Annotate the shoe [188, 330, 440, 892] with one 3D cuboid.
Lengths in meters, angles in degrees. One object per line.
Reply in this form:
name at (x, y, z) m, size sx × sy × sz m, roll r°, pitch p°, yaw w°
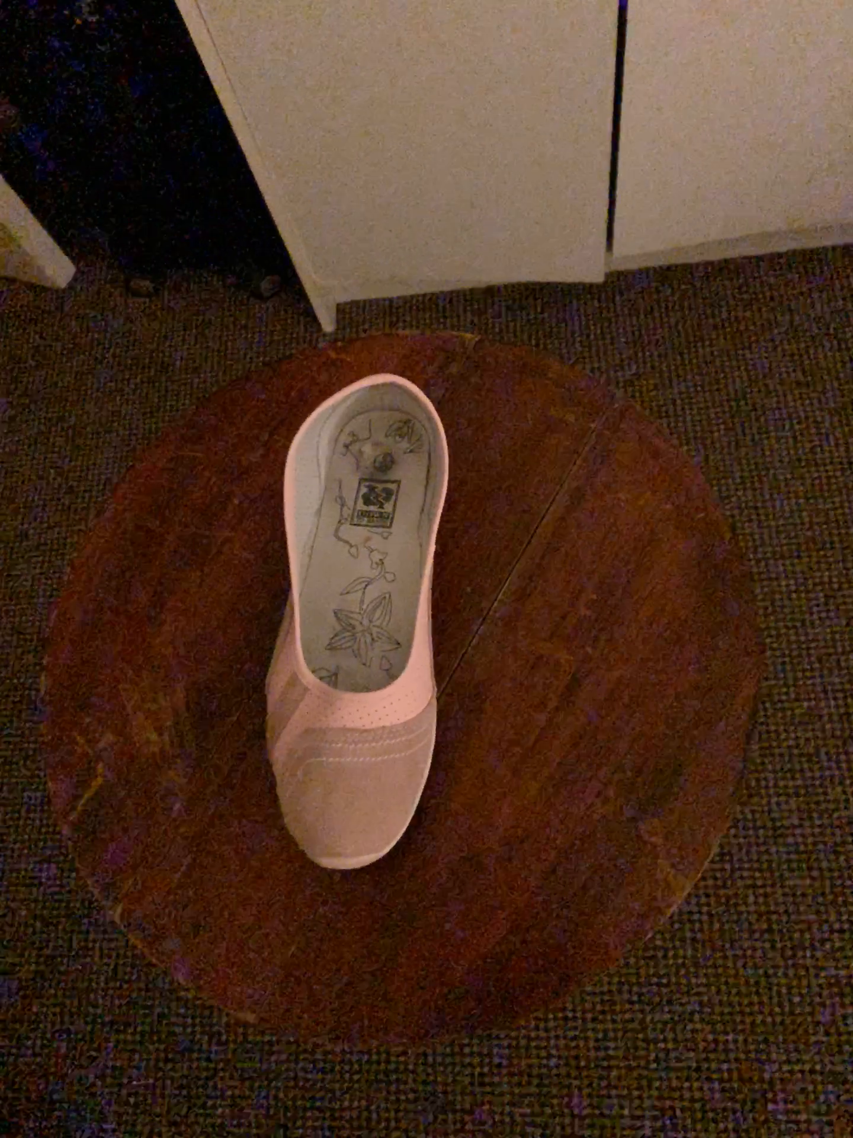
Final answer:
shoe at (-0.046, 0.016, 0.441) m, size 0.090 × 0.070 × 0.271 m, roll -2°, pitch 68°, yaw 9°
